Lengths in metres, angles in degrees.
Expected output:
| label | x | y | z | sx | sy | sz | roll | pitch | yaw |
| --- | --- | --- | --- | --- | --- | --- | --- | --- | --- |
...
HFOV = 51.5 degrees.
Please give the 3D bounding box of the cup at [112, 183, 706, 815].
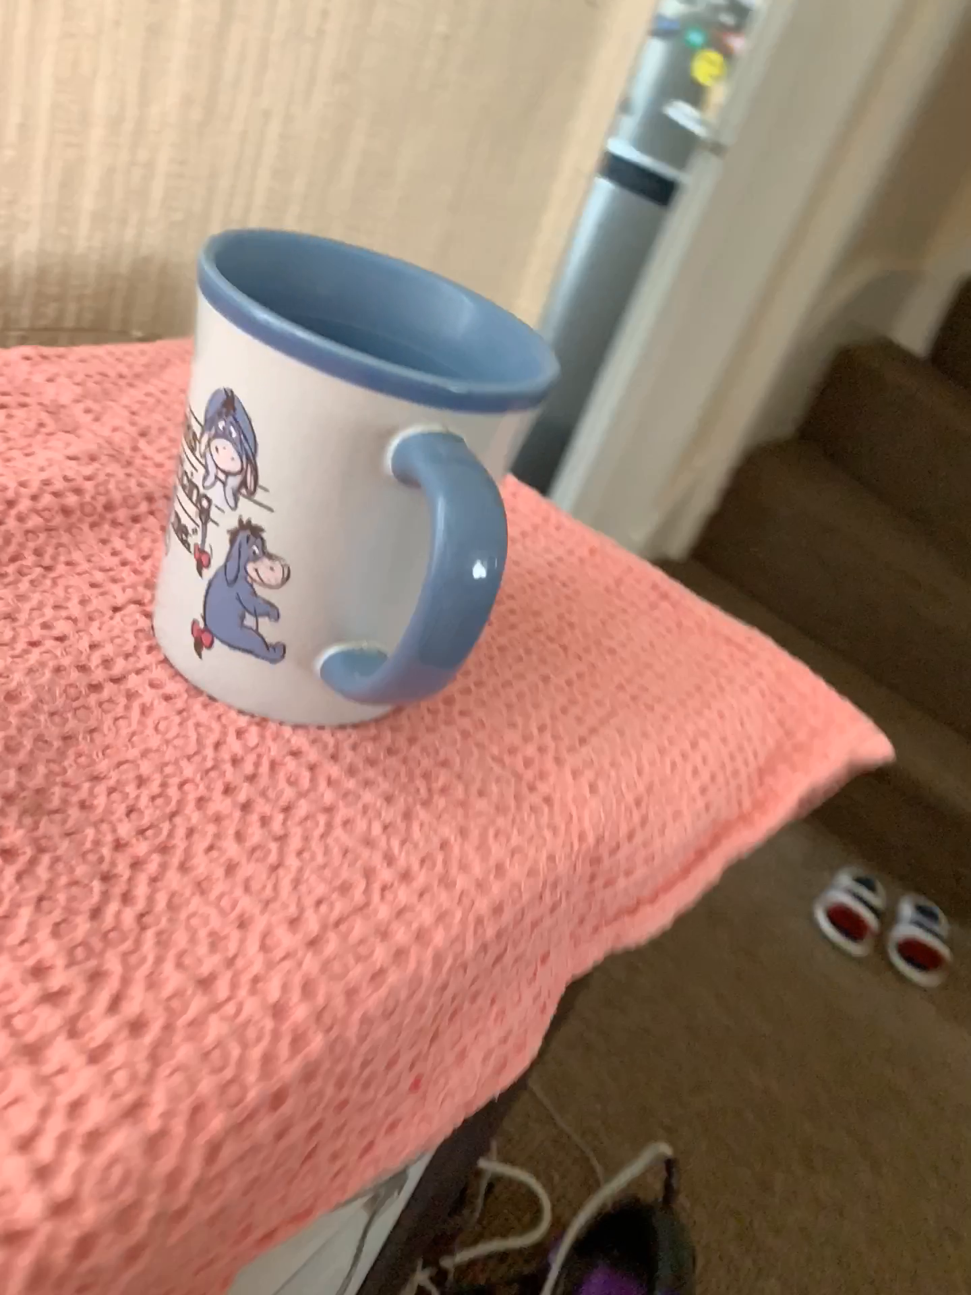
| label | x | y | z | sx | sy | sz | roll | pitch | yaw |
| --- | --- | --- | --- | --- | --- | --- | --- | --- | --- |
| cup | -0.031 | -0.037 | 0.250 | 0.090 | 0.099 | 0.111 | 2 | 36 | -31 |
